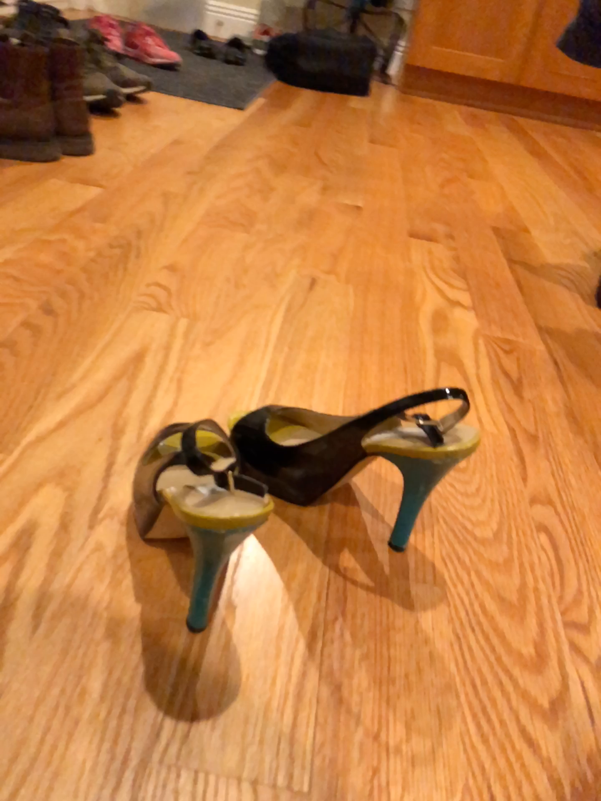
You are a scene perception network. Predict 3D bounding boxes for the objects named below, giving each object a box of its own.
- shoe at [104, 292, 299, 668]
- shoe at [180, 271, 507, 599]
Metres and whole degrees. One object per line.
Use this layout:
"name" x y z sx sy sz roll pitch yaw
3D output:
"shoe" -0.068 0.036 0.407 0.085 0.121 0.205 3 33 -13
"shoe" 0.017 0.014 0.468 0.201 0.131 0.085 32 38 29
